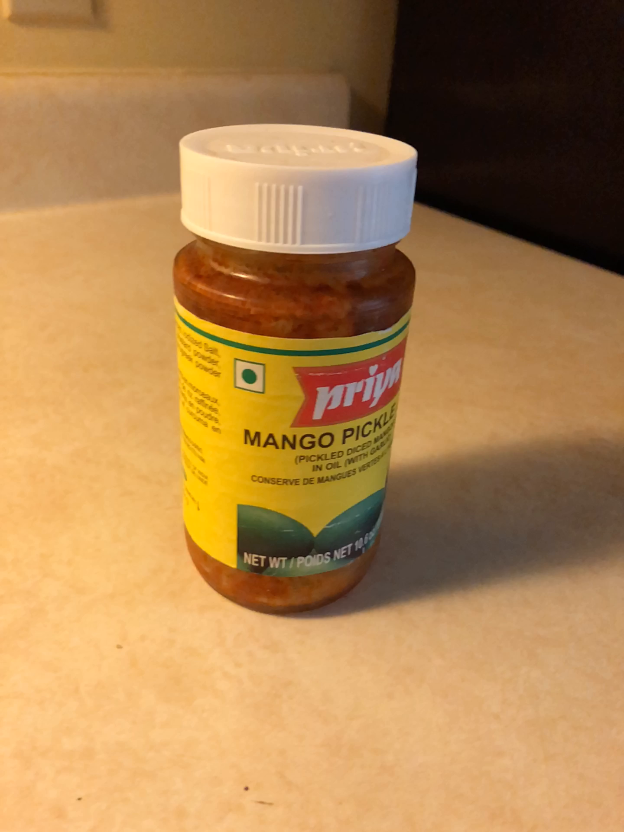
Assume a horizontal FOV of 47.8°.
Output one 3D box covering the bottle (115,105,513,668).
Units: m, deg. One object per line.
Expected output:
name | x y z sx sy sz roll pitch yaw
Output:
bottle | -0.004 -0.011 0.194 0.070 0.130 0.060 -16 35 -30
